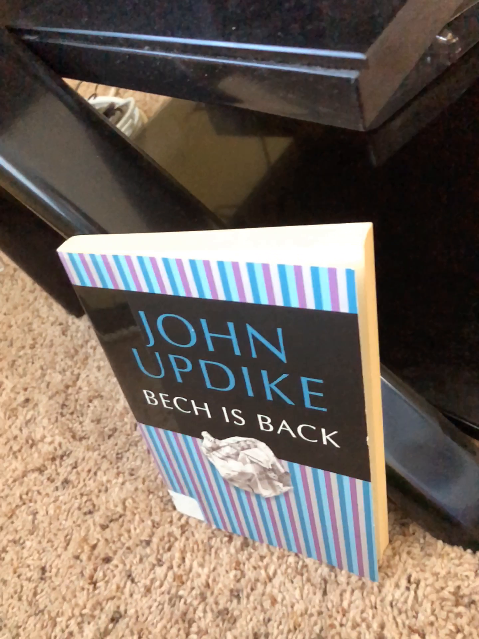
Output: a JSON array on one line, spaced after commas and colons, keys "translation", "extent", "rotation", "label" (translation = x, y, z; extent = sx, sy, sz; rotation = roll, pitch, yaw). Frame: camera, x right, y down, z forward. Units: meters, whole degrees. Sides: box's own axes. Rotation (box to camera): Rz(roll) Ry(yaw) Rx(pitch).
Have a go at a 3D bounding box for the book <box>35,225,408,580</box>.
[{"translation": [0.006, 0.048, 0.262], "extent": [0.135, 0.201, 0.030], "rotation": [6, 44, 27], "label": "book"}]
